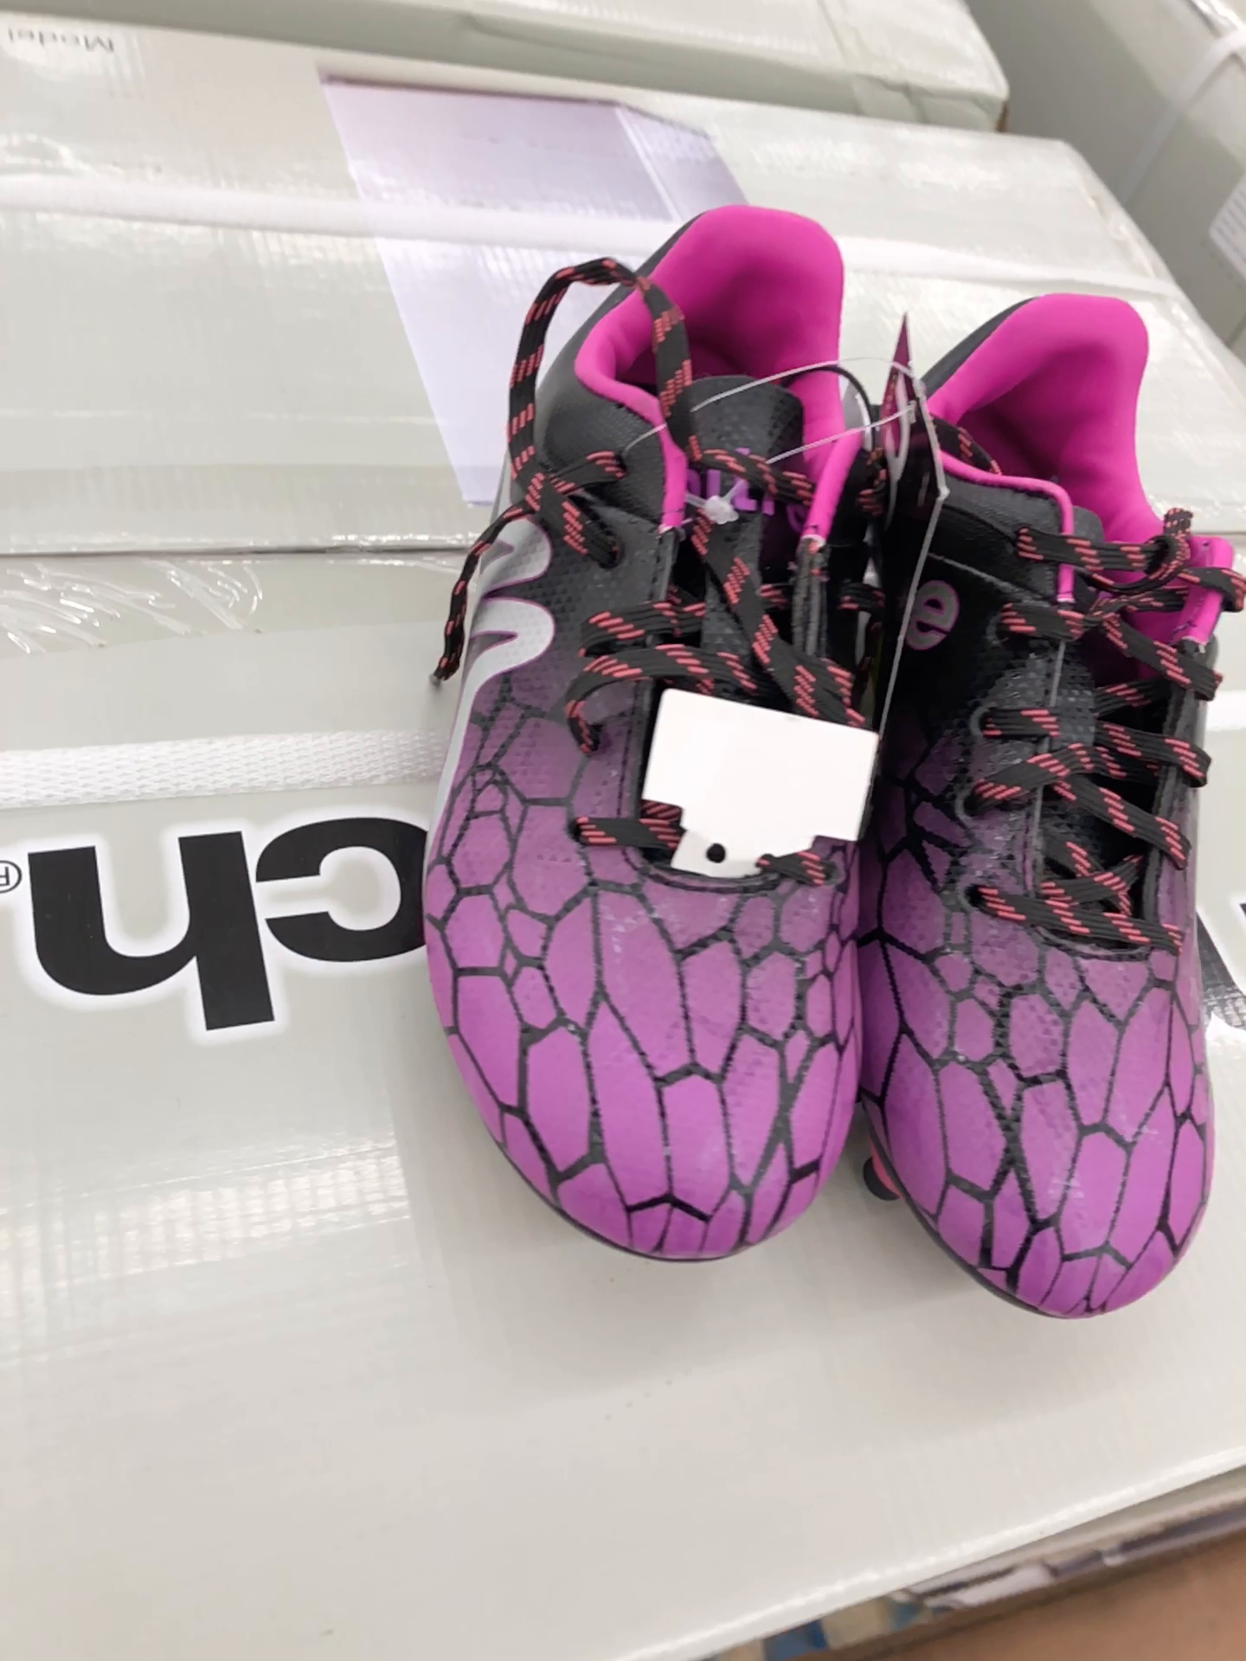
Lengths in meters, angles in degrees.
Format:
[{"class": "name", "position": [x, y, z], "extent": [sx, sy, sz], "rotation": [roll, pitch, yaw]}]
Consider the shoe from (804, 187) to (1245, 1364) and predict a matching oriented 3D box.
[{"class": "shoe", "position": [0.095, -0.018, 0.269], "extent": [0.080, 0.080, 0.210], "rotation": [8, 55, -13]}]

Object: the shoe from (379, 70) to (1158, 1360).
[{"class": "shoe", "position": [0.014, -0.029, 0.244], "extent": [0.080, 0.080, 0.210], "rotation": [9, 54, -12]}]
